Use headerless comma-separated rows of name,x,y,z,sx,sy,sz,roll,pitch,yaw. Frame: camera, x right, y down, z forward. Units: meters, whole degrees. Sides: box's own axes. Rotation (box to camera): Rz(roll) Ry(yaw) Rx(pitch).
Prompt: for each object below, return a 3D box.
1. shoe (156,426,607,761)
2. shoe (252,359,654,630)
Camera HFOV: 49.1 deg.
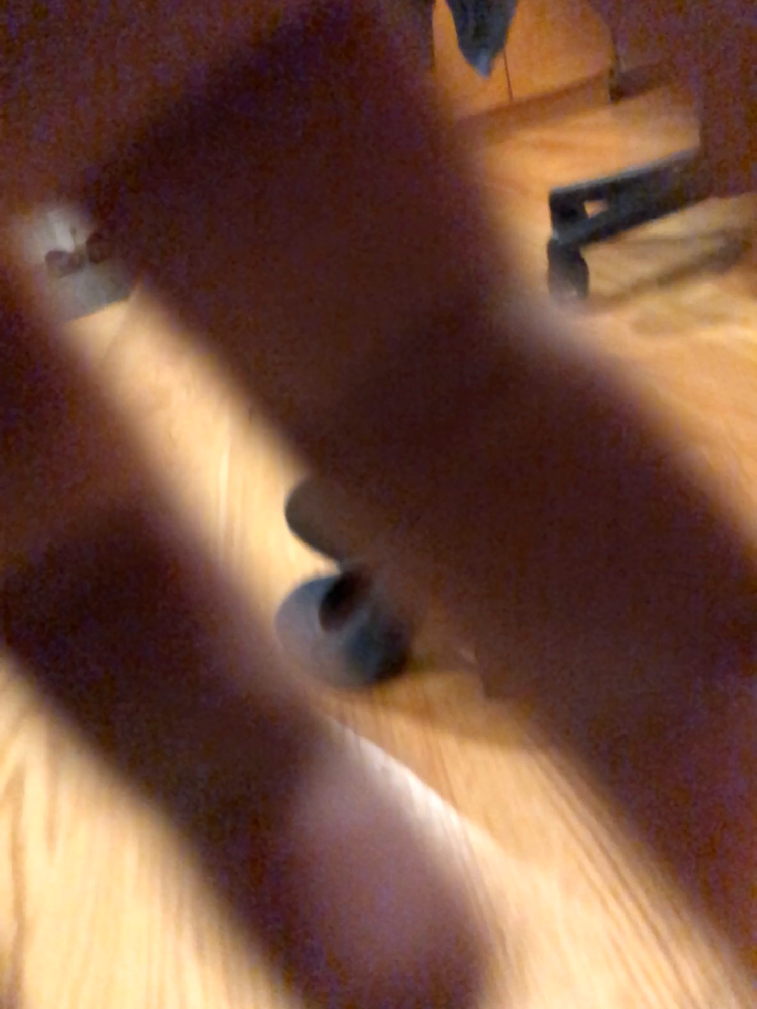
shoe,0.004,0.038,0.440,0.195,0.128,0.090,2,32,31
shoe,0.052,-0.013,0.532,0.205,0.089,0.140,2,39,32
